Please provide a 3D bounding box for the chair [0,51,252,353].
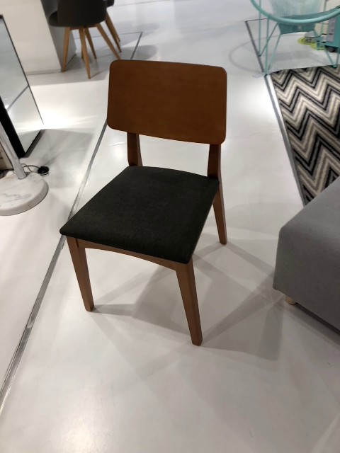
[{"bbox_3d":[-0.057,-0.095,1.322,0.531,0.805,0.583,12,46,22],"label":"chair"}]
